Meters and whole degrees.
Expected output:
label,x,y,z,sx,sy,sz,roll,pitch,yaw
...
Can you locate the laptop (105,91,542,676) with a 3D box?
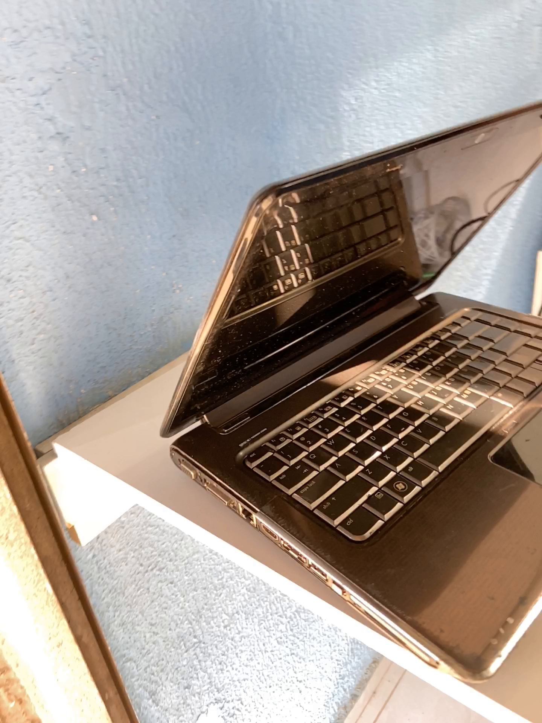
label,x,y,z,sx,sy,sz,roll,pitch,yaw
laptop,0.124,-0.053,0.378,0.345,0.190,0.245,-28,35,-33
